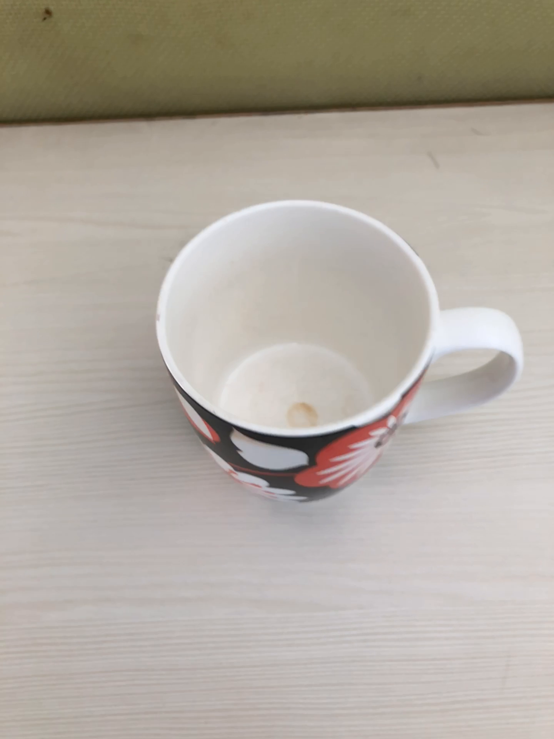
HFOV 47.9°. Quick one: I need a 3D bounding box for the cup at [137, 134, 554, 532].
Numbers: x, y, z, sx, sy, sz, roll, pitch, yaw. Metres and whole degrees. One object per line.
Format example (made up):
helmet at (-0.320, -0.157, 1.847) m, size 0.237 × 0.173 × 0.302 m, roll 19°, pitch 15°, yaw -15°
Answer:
cup at (0.023, -0.009, 0.224) m, size 0.120 × 0.090 × 0.090 m, roll -10°, pitch 61°, yaw -4°
